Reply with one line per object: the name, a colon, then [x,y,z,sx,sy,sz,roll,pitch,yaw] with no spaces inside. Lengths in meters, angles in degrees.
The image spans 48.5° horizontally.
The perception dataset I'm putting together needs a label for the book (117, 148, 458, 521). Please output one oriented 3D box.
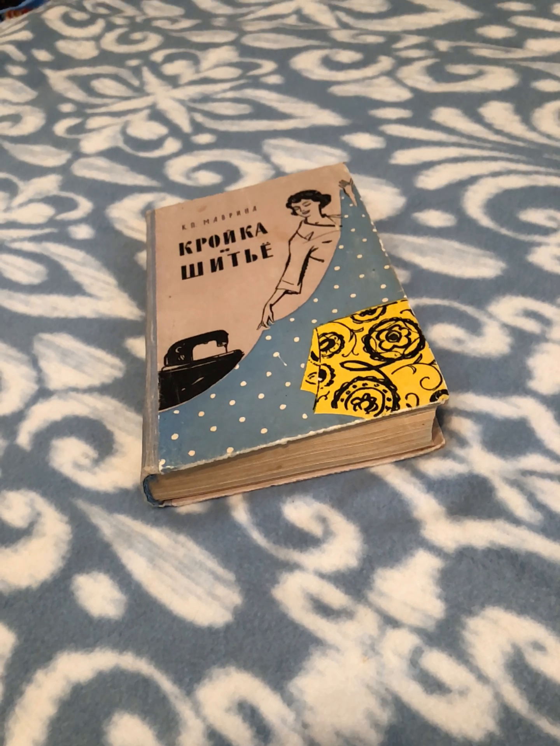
book: [-0.009,-0.041,0.362,0.151,0.037,0.232,-14,46,4]
